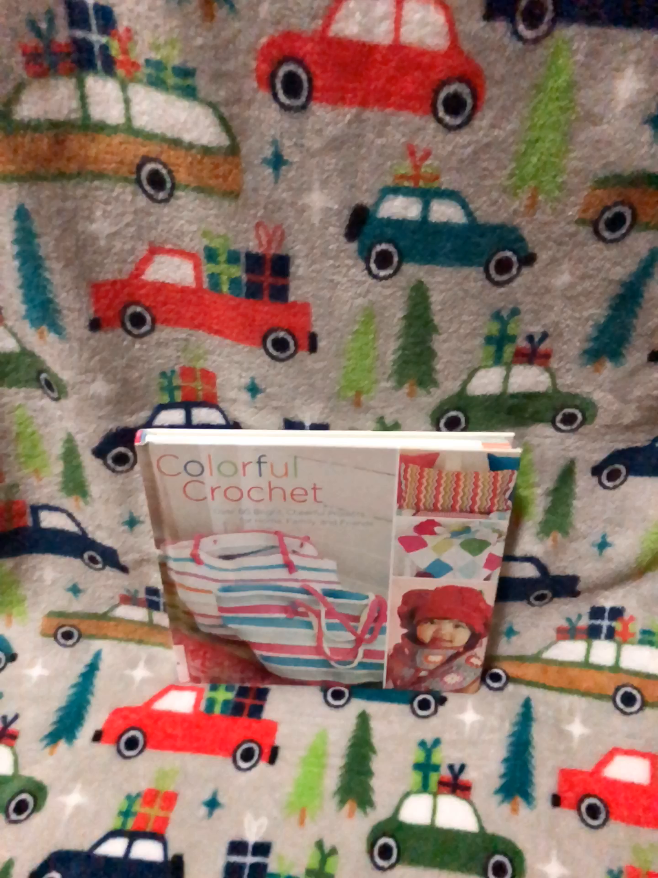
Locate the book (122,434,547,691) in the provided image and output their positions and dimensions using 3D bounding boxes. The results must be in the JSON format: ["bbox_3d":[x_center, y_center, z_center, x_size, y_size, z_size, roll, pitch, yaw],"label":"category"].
[{"bbox_3d":[0.002,0.084,0.425,0.202,0.214,0.020,1,43,1],"label":"book"}]
